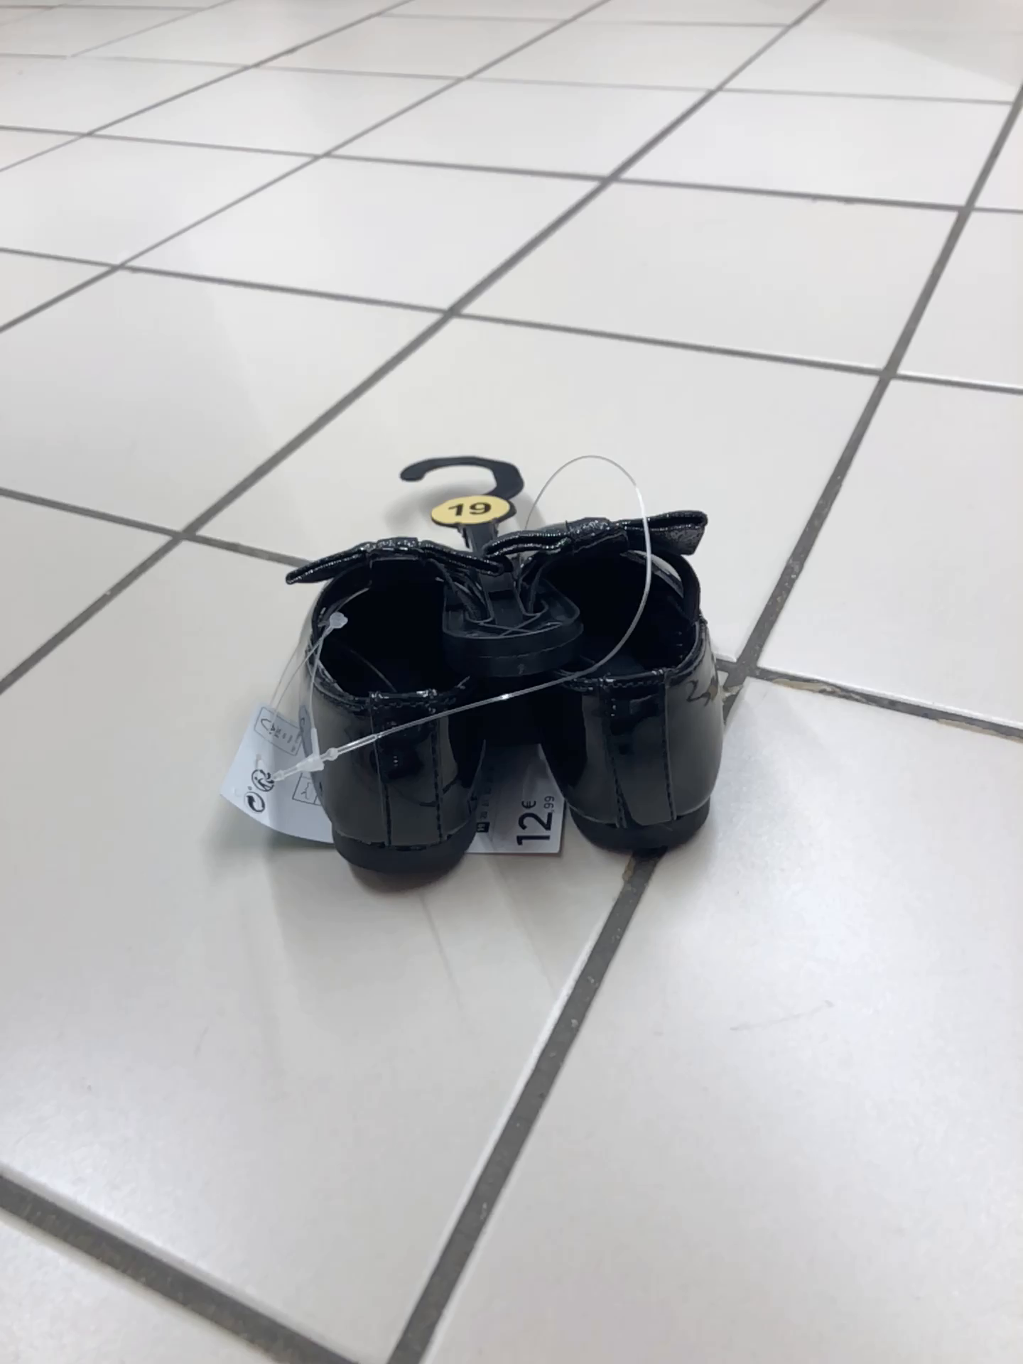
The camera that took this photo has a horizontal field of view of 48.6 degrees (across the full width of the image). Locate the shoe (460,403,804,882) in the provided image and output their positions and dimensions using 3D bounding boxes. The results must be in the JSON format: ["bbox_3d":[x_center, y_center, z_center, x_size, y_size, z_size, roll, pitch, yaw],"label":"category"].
[{"bbox_3d":[0.024,-0.017,0.295,0.061,0.052,0.125,-7,40,-3],"label":"shoe"}]

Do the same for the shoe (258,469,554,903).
[{"bbox_3d":[-0.029,-0.006,0.297,0.061,0.037,0.123,-7,40,-3],"label":"shoe"}]
